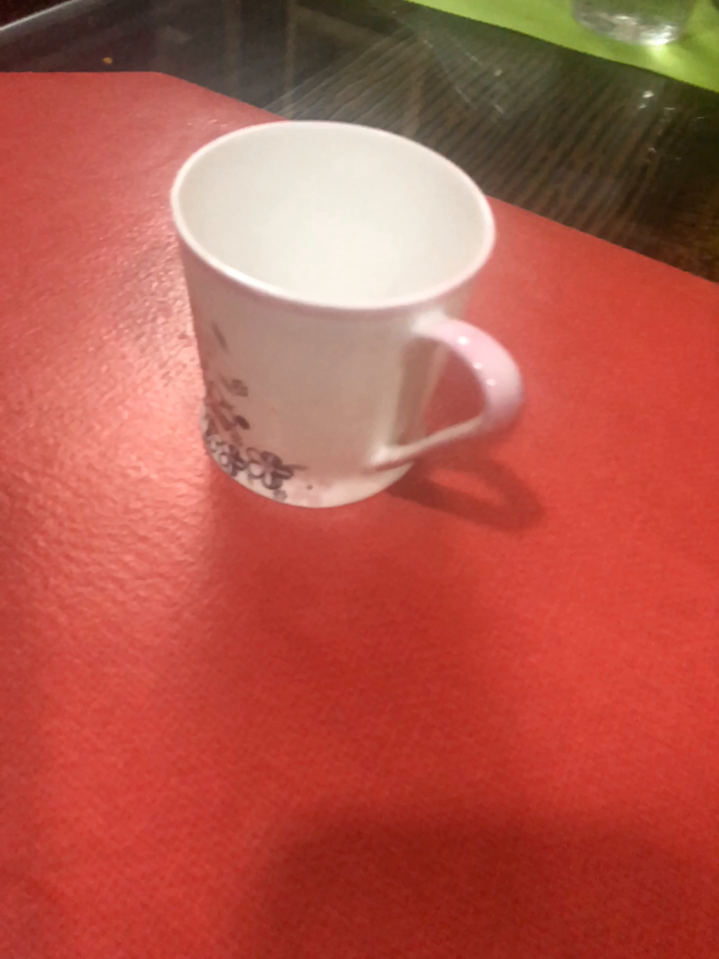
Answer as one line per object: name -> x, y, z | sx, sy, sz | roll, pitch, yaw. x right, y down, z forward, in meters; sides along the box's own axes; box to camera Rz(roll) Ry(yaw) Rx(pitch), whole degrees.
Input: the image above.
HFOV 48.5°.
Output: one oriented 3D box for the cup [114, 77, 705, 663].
cup -> 0.006, -0.029, 0.193 | 0.100, 0.080, 0.070 | 37, 55, 22
